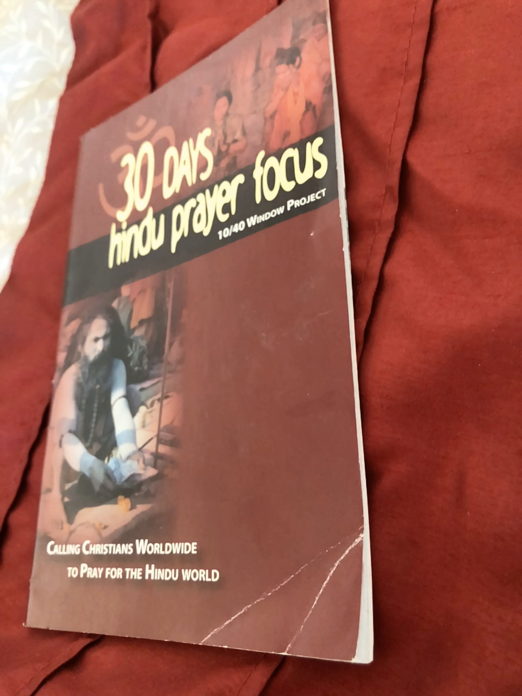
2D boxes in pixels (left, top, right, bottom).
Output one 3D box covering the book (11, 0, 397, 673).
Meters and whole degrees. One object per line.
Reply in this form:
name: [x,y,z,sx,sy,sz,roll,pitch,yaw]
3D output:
book: [-0.030,-0.012,0.208,0.142,0.010,0.210,-13,68,33]
